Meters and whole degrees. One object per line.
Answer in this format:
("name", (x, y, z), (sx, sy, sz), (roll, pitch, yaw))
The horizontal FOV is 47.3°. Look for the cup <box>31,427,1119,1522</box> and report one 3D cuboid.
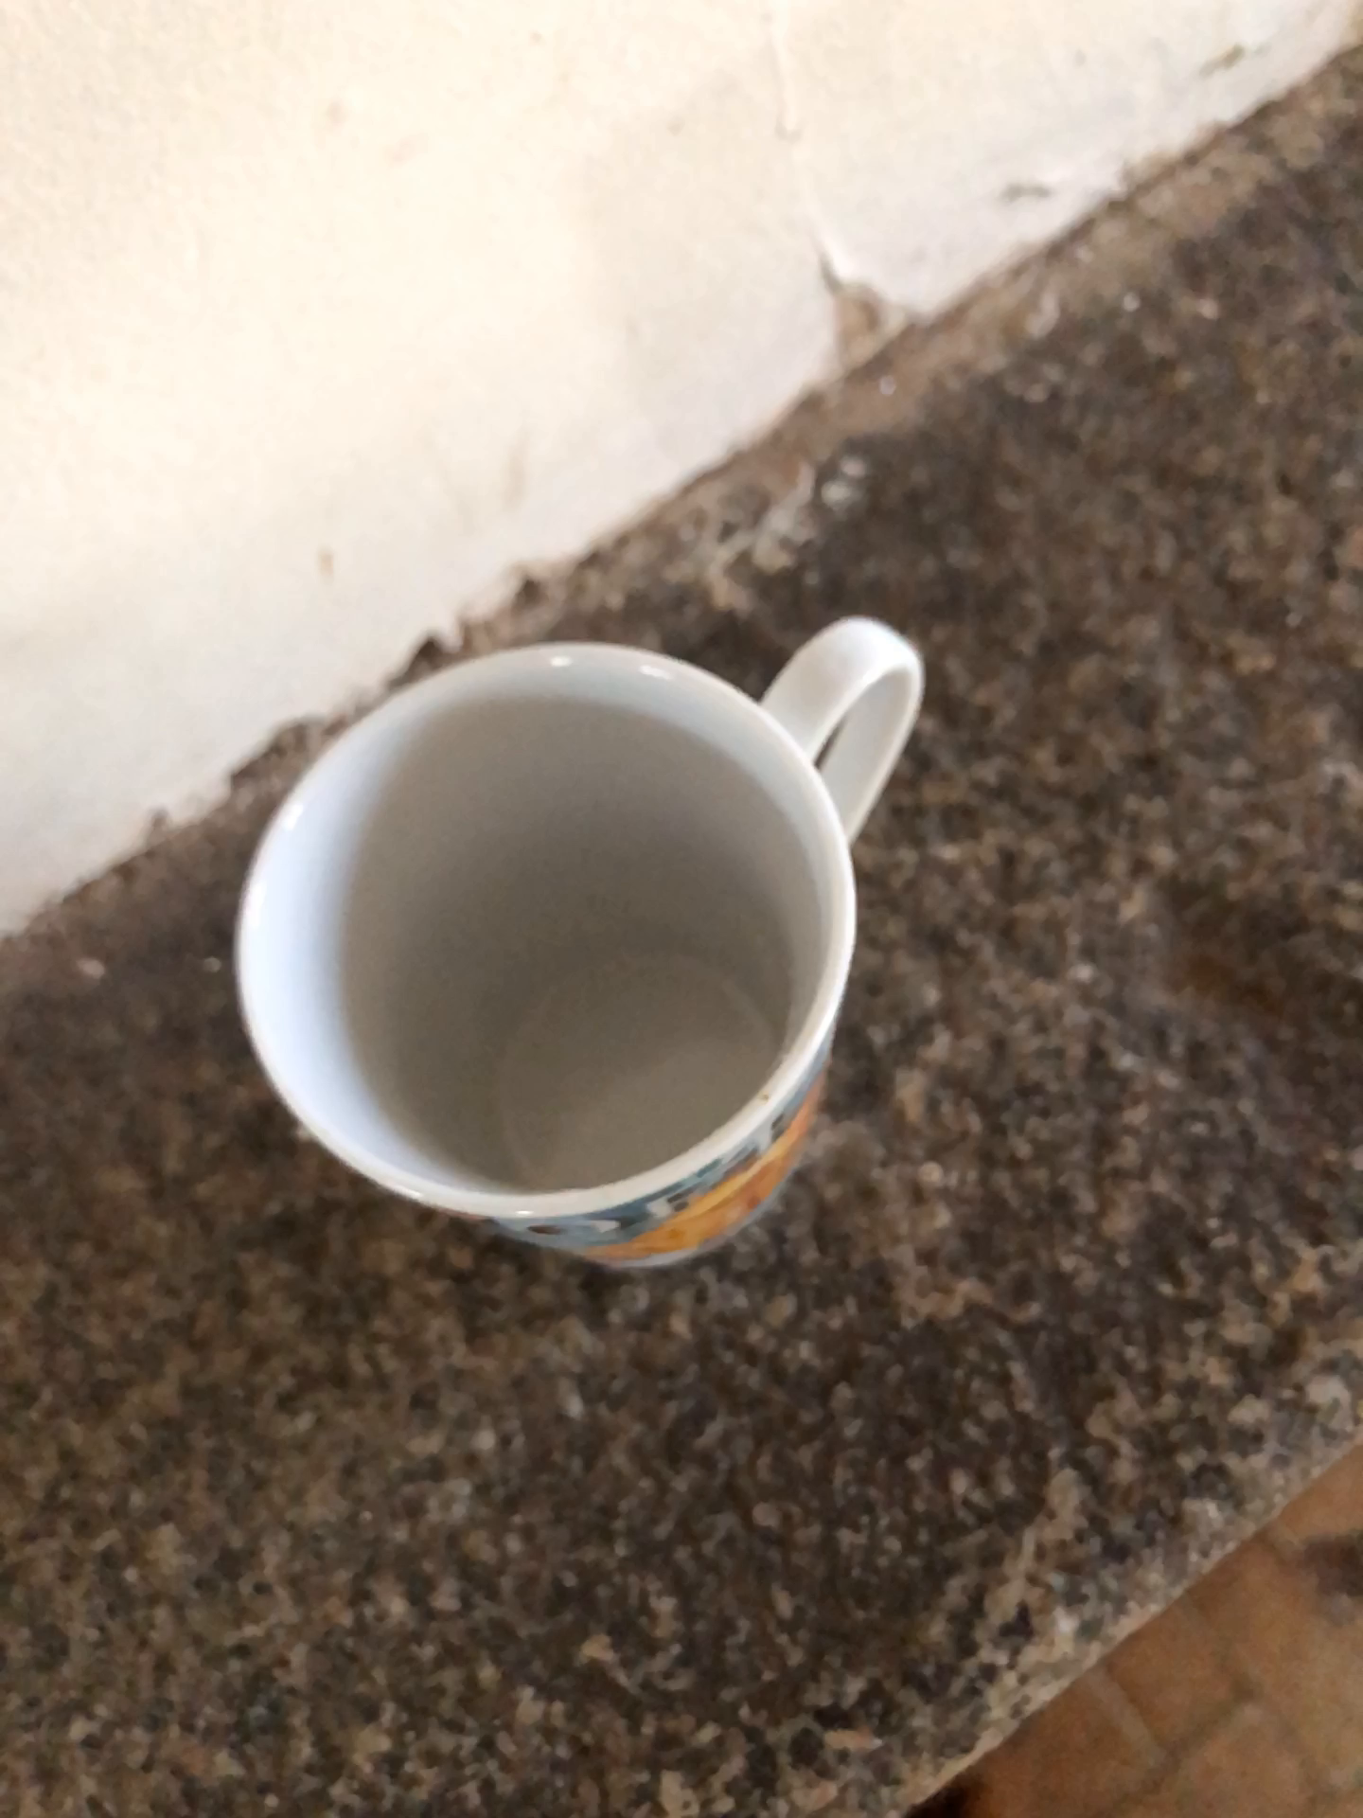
("cup", (-0.005, 0.009, 0.163), (0.060, 0.060, 0.080), (33, 76, 21))
